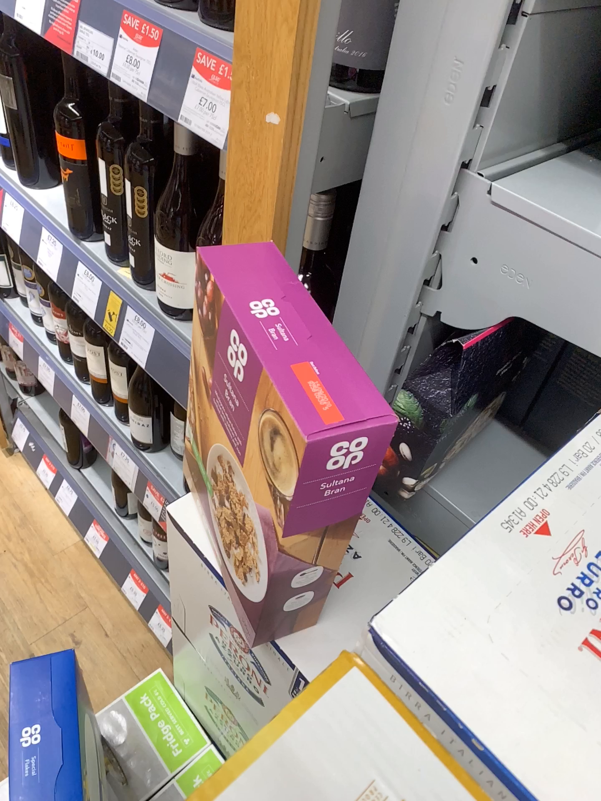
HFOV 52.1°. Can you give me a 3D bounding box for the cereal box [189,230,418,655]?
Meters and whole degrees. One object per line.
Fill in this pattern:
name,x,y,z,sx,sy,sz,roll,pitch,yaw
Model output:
cereal box,-0.024,0.037,0.478,0.070,0.257,0.202,-11,48,-22
